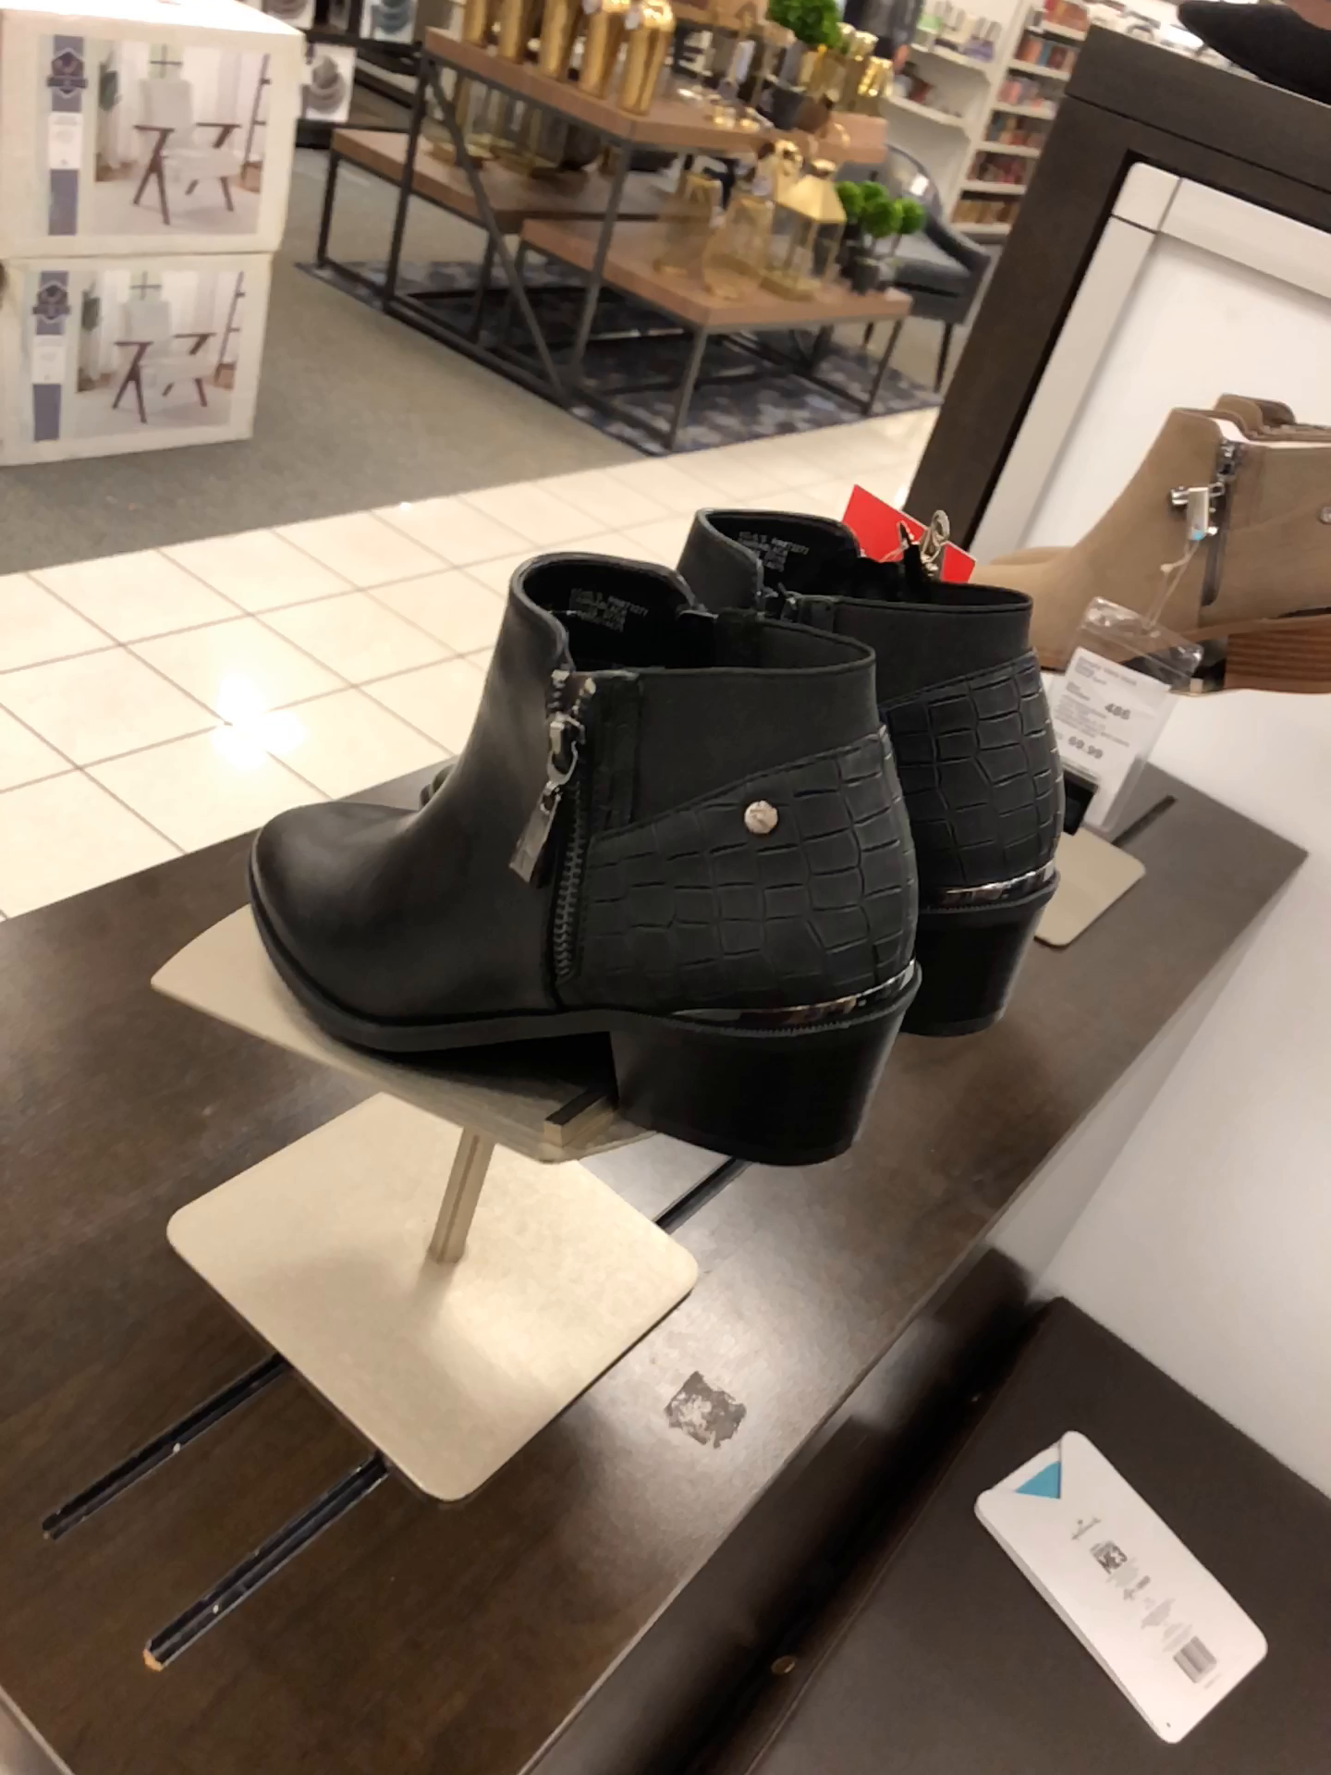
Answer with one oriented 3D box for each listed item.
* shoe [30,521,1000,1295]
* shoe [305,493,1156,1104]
[{"bbox_3d":[-0.050,-0.018,0.392,0.243,0.132,0.105,16,25,39],"label":"shoe"},{"bbox_3d":[0.009,-0.047,0.464,0.243,0.132,0.105,16,25,39],"label":"shoe"}]
